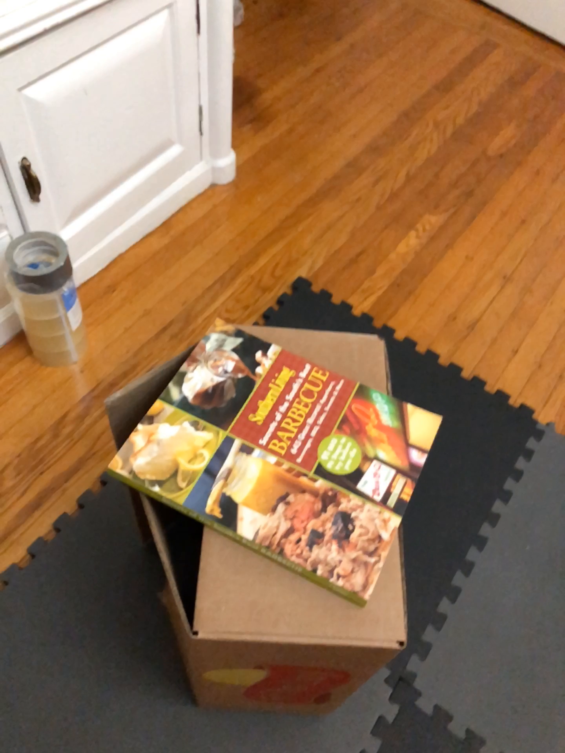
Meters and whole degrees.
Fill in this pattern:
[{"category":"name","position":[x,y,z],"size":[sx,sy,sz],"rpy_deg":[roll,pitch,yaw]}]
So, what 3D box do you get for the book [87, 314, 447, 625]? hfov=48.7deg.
[{"category":"book","position":[-0.007,0.074,0.629],"size":[0.290,0.020,0.221],"rpy_deg":[25,57,11]}]
